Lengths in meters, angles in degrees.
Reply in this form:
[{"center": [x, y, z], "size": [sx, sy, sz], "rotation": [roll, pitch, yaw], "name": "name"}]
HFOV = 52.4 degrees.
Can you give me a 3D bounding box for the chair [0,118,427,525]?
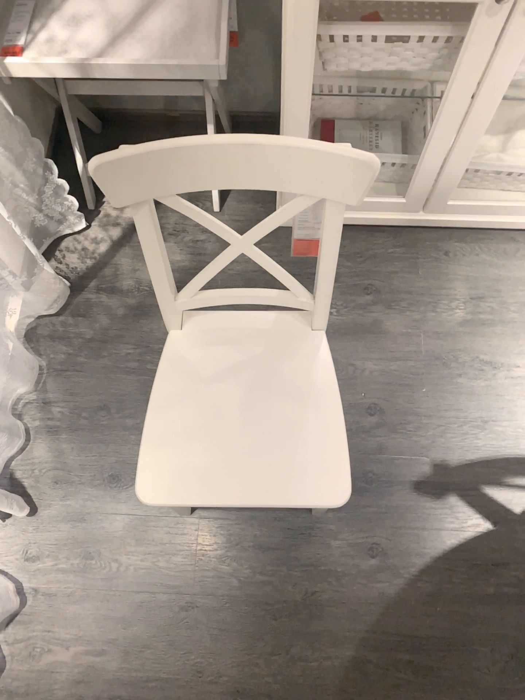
[{"center": [-0.045, 0.070, 1.034], "size": [0.440, 0.859, 0.490], "rotation": [-1, 70, 1], "name": "chair"}]
